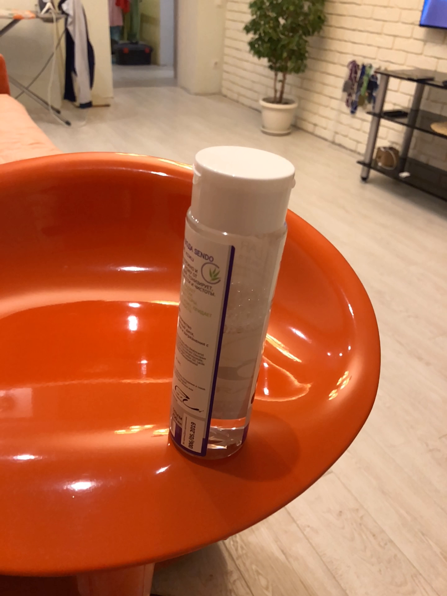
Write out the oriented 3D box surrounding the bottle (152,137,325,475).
[{"bbox_3d":[0.000,0.007,0.263,0.052,0.166,0.054,5,30,-3],"label":"bottle"}]
